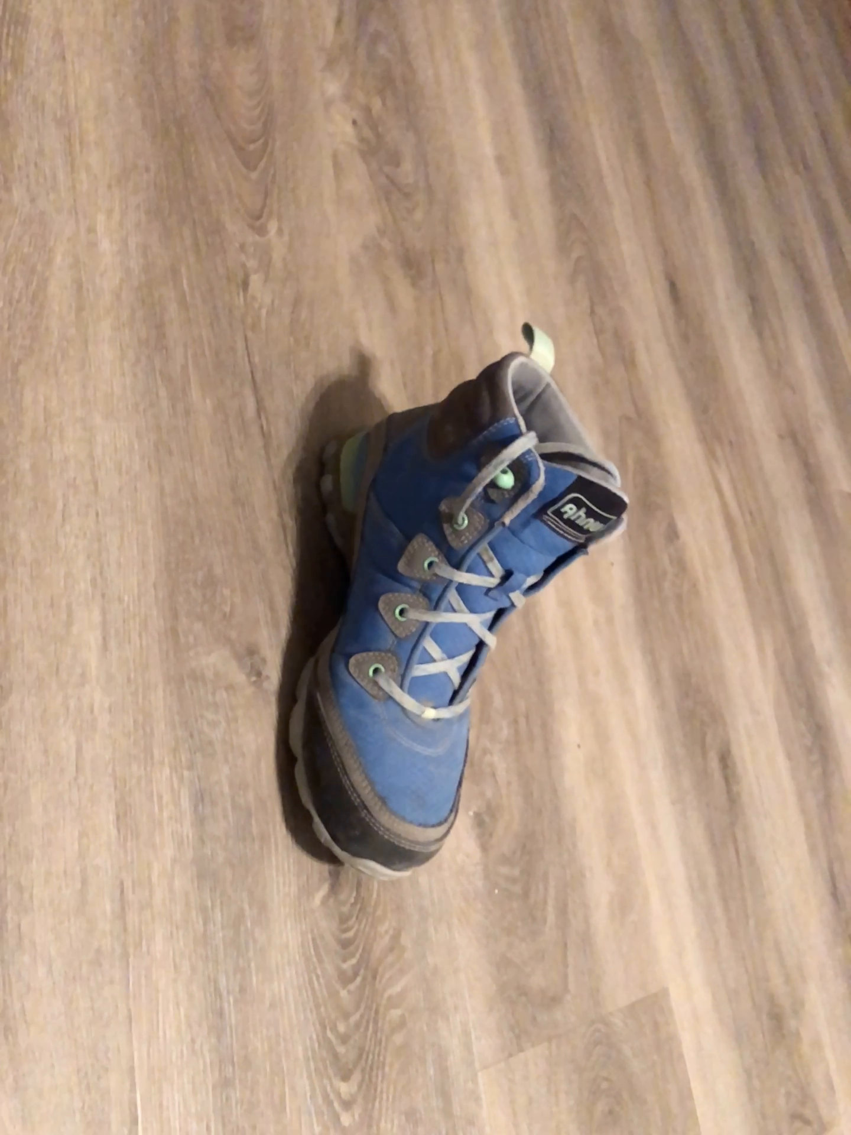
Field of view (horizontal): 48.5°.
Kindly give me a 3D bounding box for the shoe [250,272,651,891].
[{"bbox_3d":[0.011,0.014,0.455,0.100,0.139,0.250,24,56,-37],"label":"shoe"}]
